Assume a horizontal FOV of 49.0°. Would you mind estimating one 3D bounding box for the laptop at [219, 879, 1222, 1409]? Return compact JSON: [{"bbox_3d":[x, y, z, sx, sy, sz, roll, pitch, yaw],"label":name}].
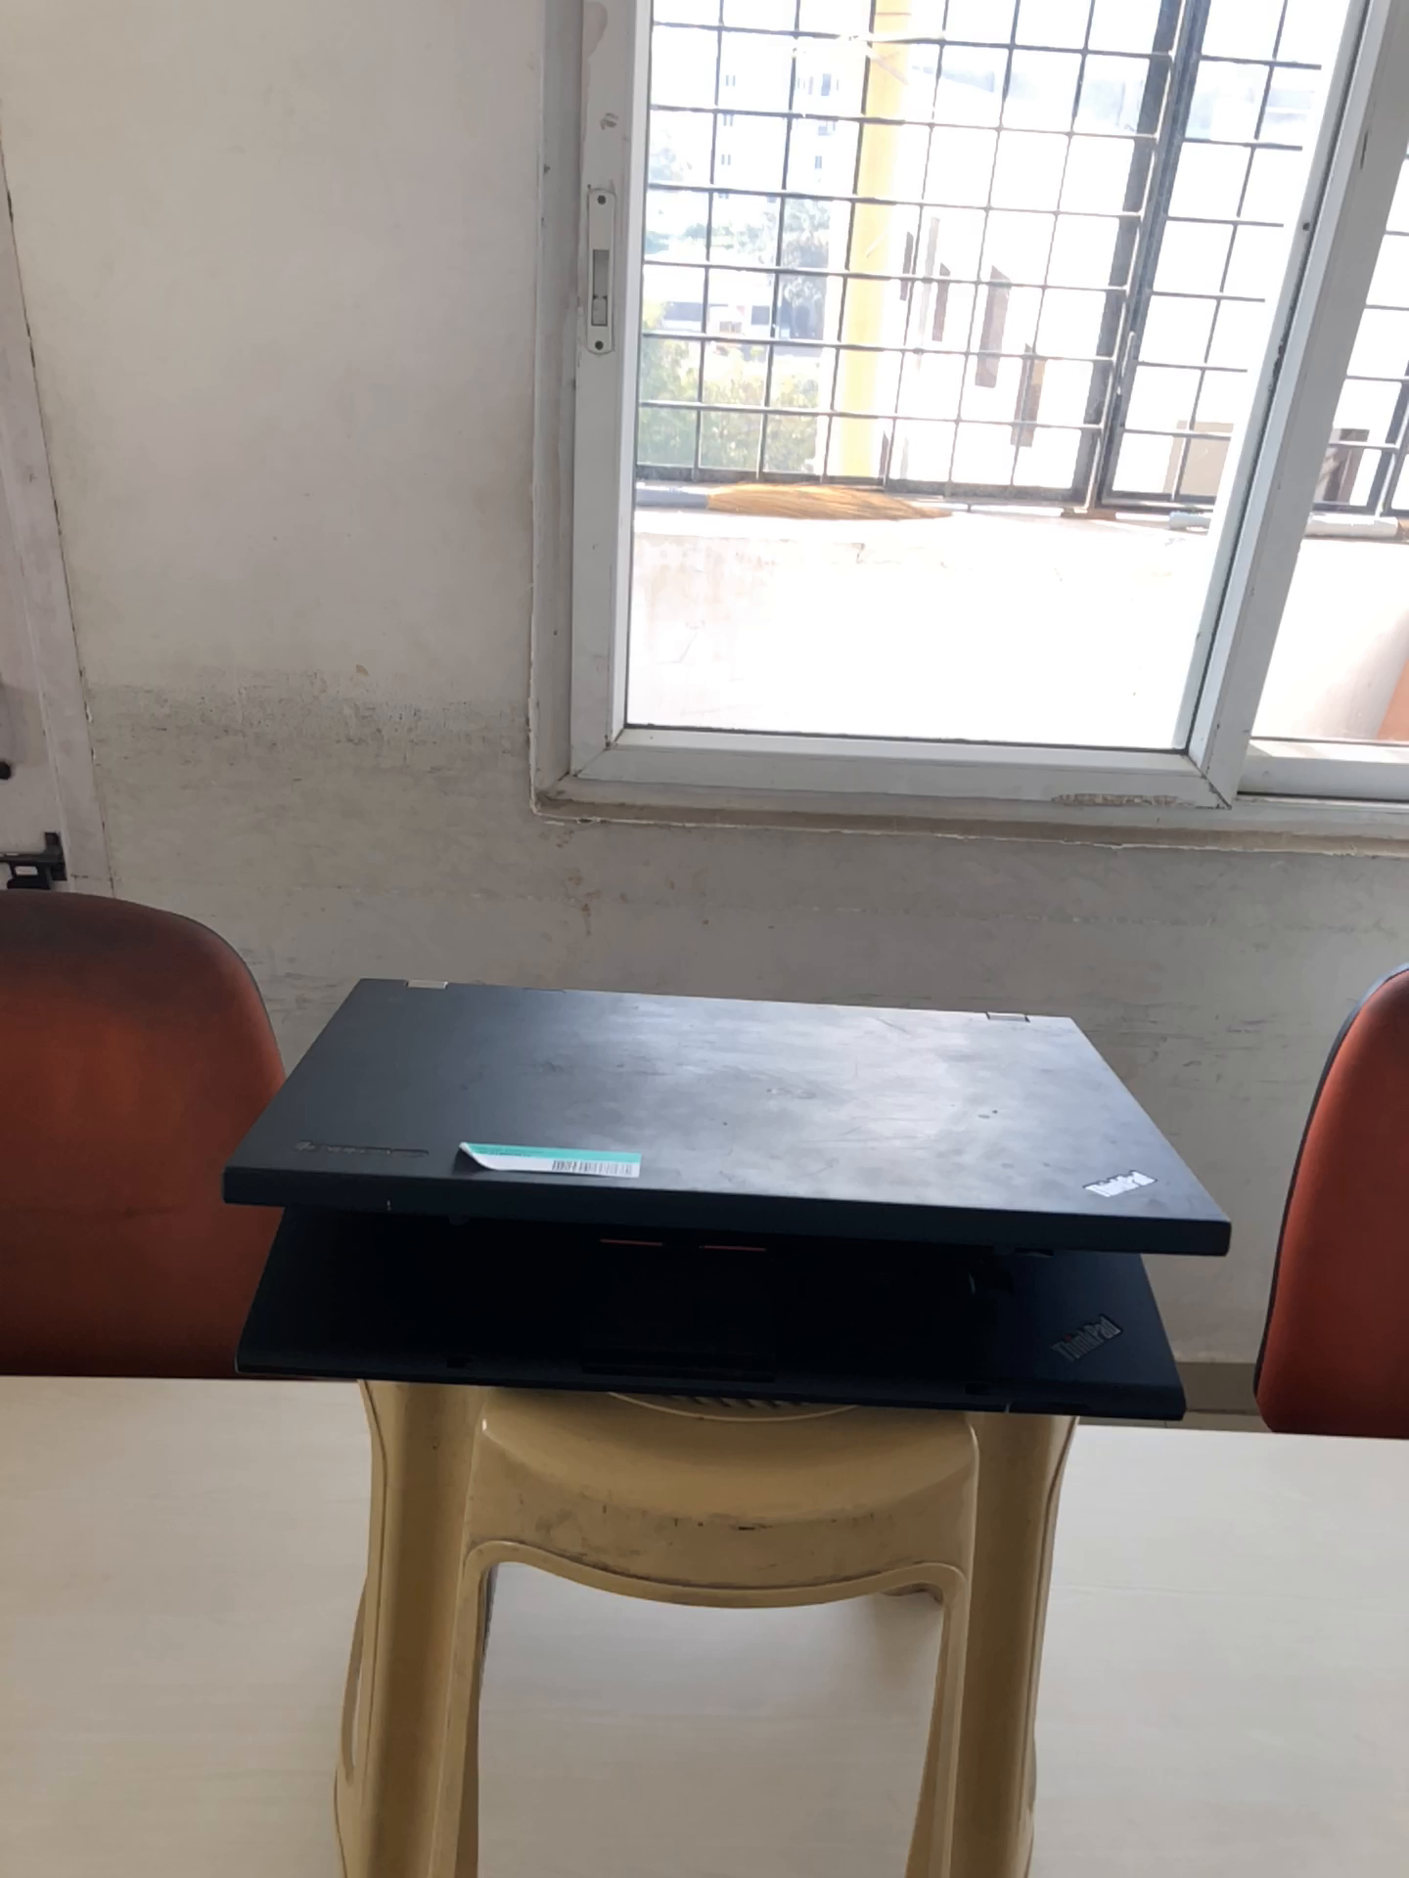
[{"bbox_3d":[0.009,0.077,0.673,0.362,0.074,0.236,3,33,-2],"label":"laptop"}]
